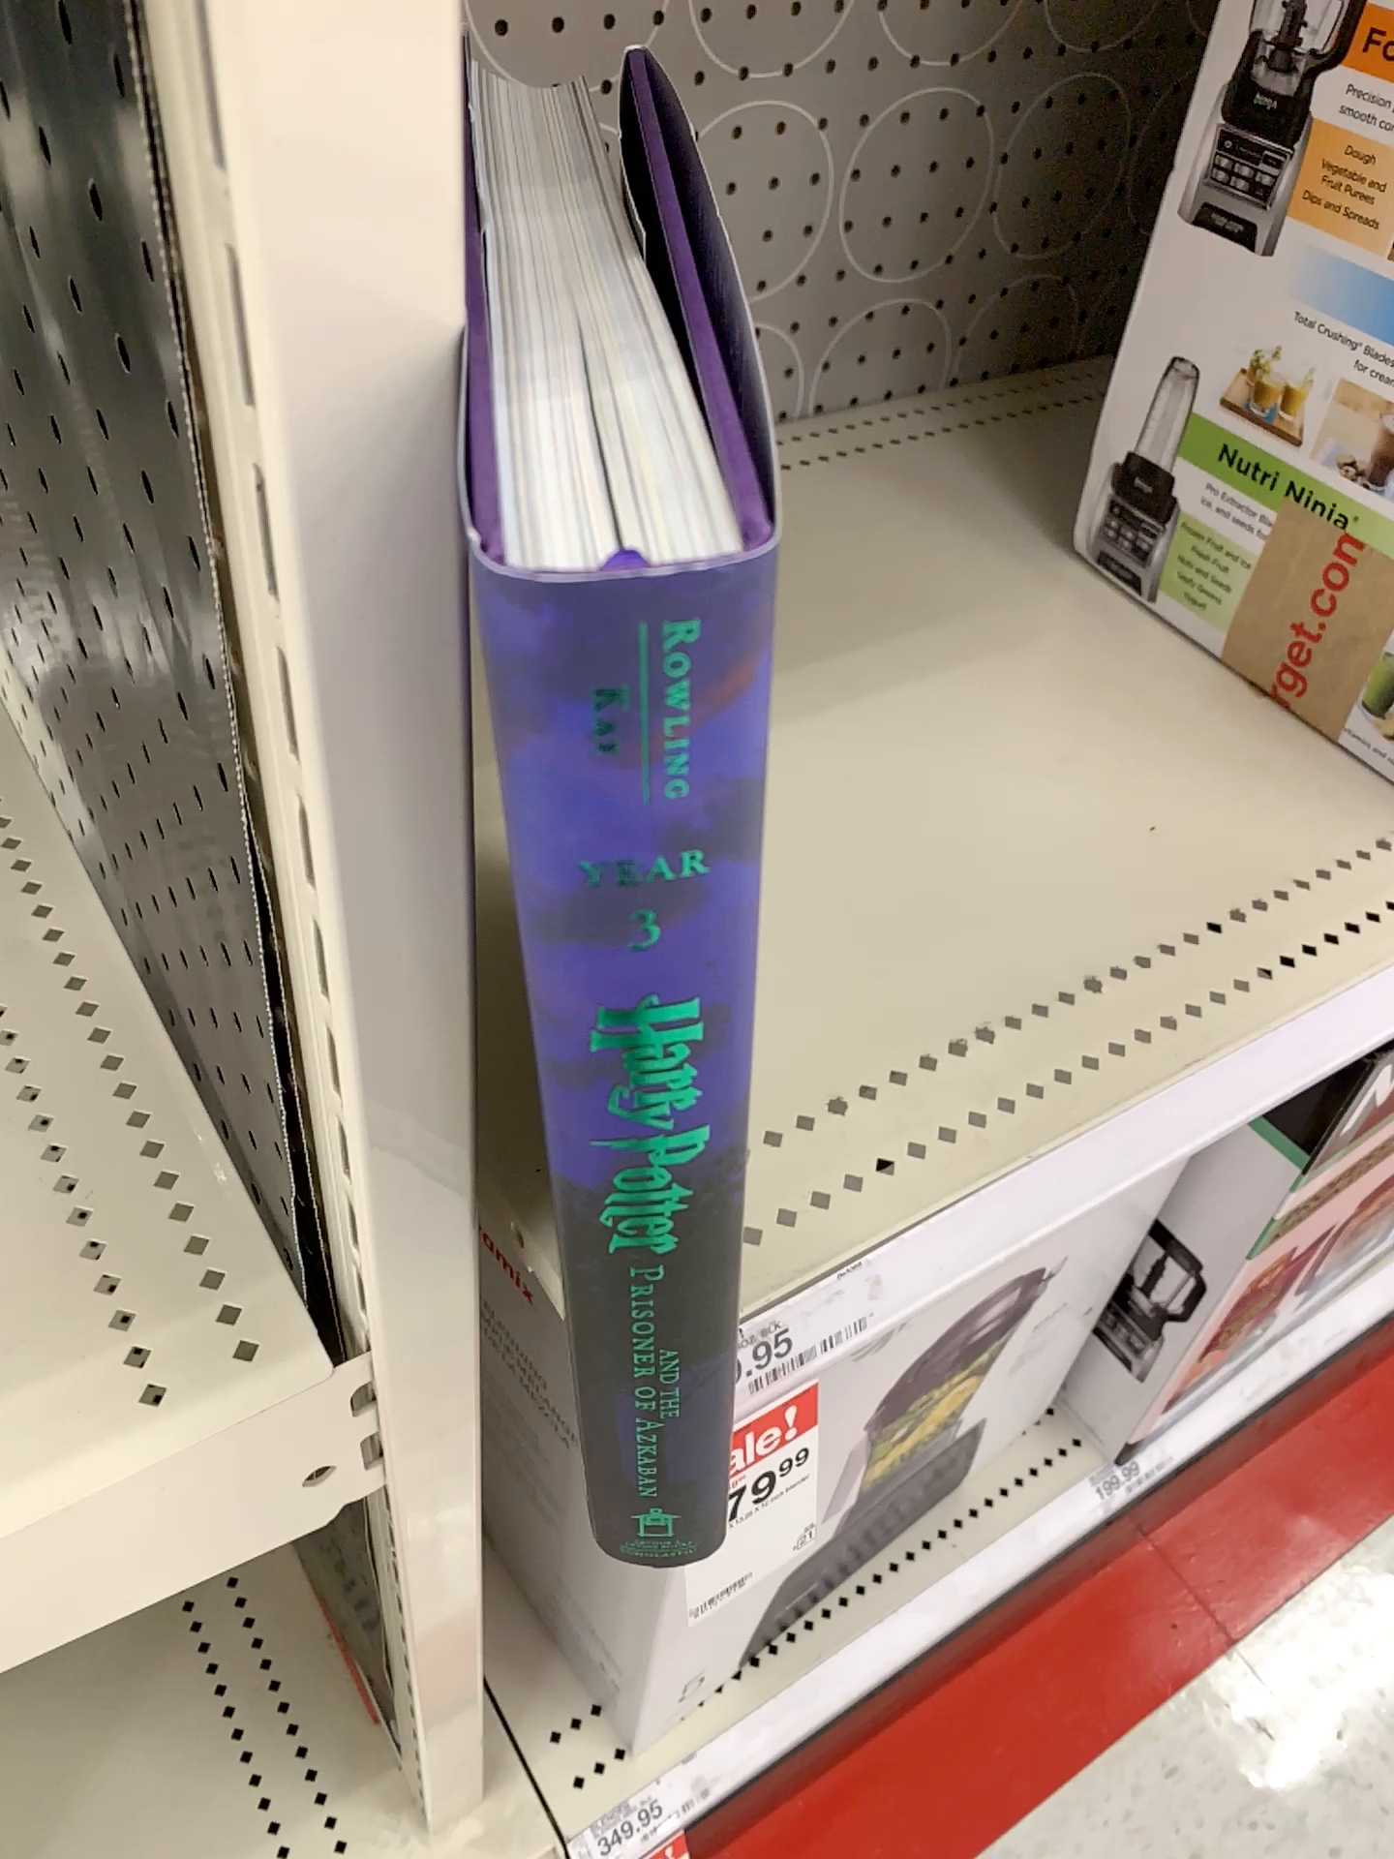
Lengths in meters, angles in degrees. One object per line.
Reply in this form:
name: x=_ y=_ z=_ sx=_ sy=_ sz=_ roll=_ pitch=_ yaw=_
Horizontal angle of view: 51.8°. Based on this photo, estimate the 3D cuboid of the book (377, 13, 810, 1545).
book: x=-0.025 y=-0.029 z=0.350 sx=0.050 sy=0.280 sz=0.241 roll=-3 pitch=46 yaw=-4
